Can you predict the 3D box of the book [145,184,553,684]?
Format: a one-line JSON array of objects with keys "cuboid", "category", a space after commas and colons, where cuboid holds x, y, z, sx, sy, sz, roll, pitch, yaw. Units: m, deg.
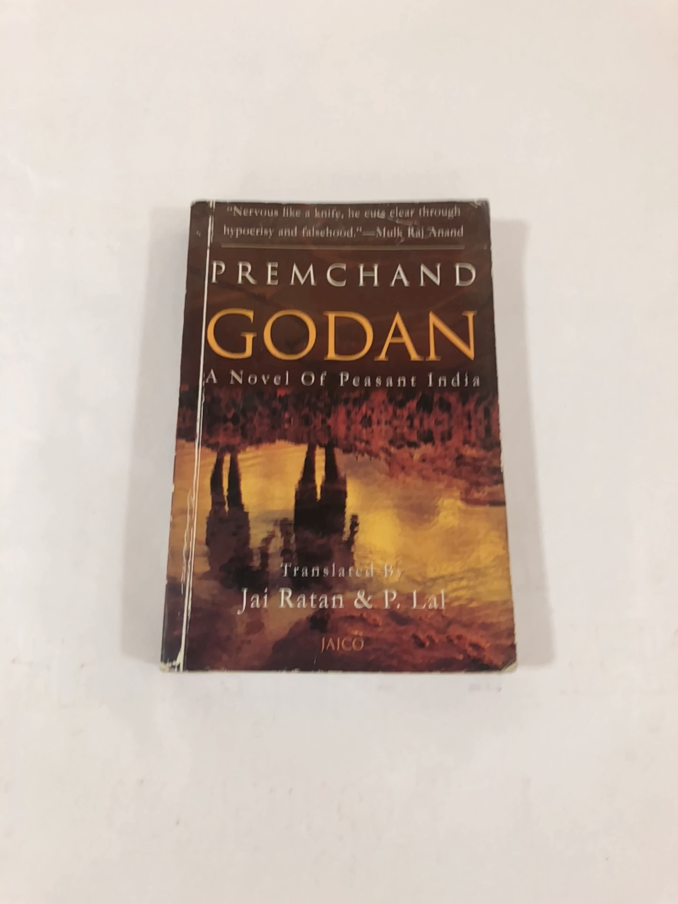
[{"cuboid": [0.007, -0.013, 0.323, 0.150, 0.030, 0.210, 2, 73, 0], "category": "book"}]
